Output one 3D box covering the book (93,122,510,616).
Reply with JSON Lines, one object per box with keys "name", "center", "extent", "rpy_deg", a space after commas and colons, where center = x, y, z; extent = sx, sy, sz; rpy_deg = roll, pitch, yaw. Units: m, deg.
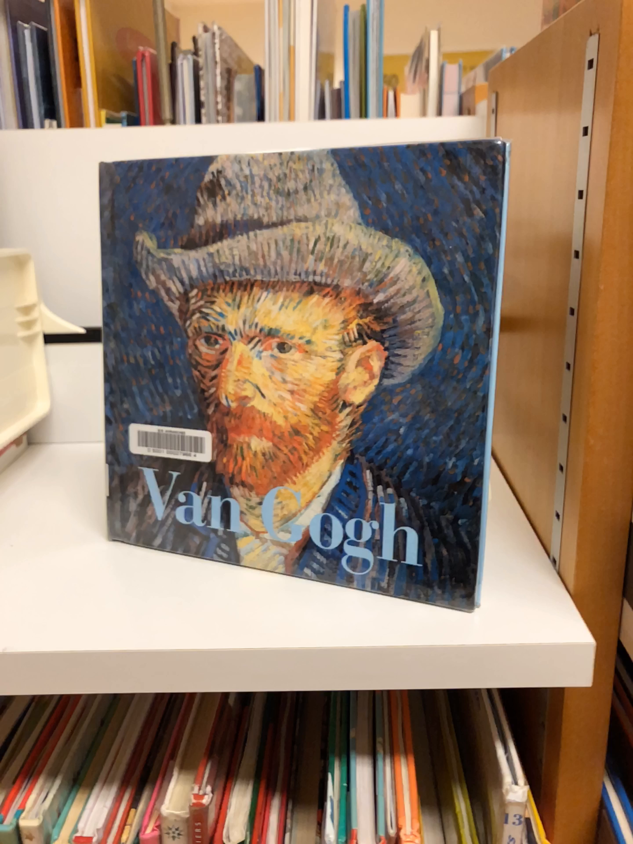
{"name": "book", "center": [-0.019, -0.025, 0.327], "extent": [0.200, 0.198, 0.013], "rpy_deg": [5, 9, 24]}
